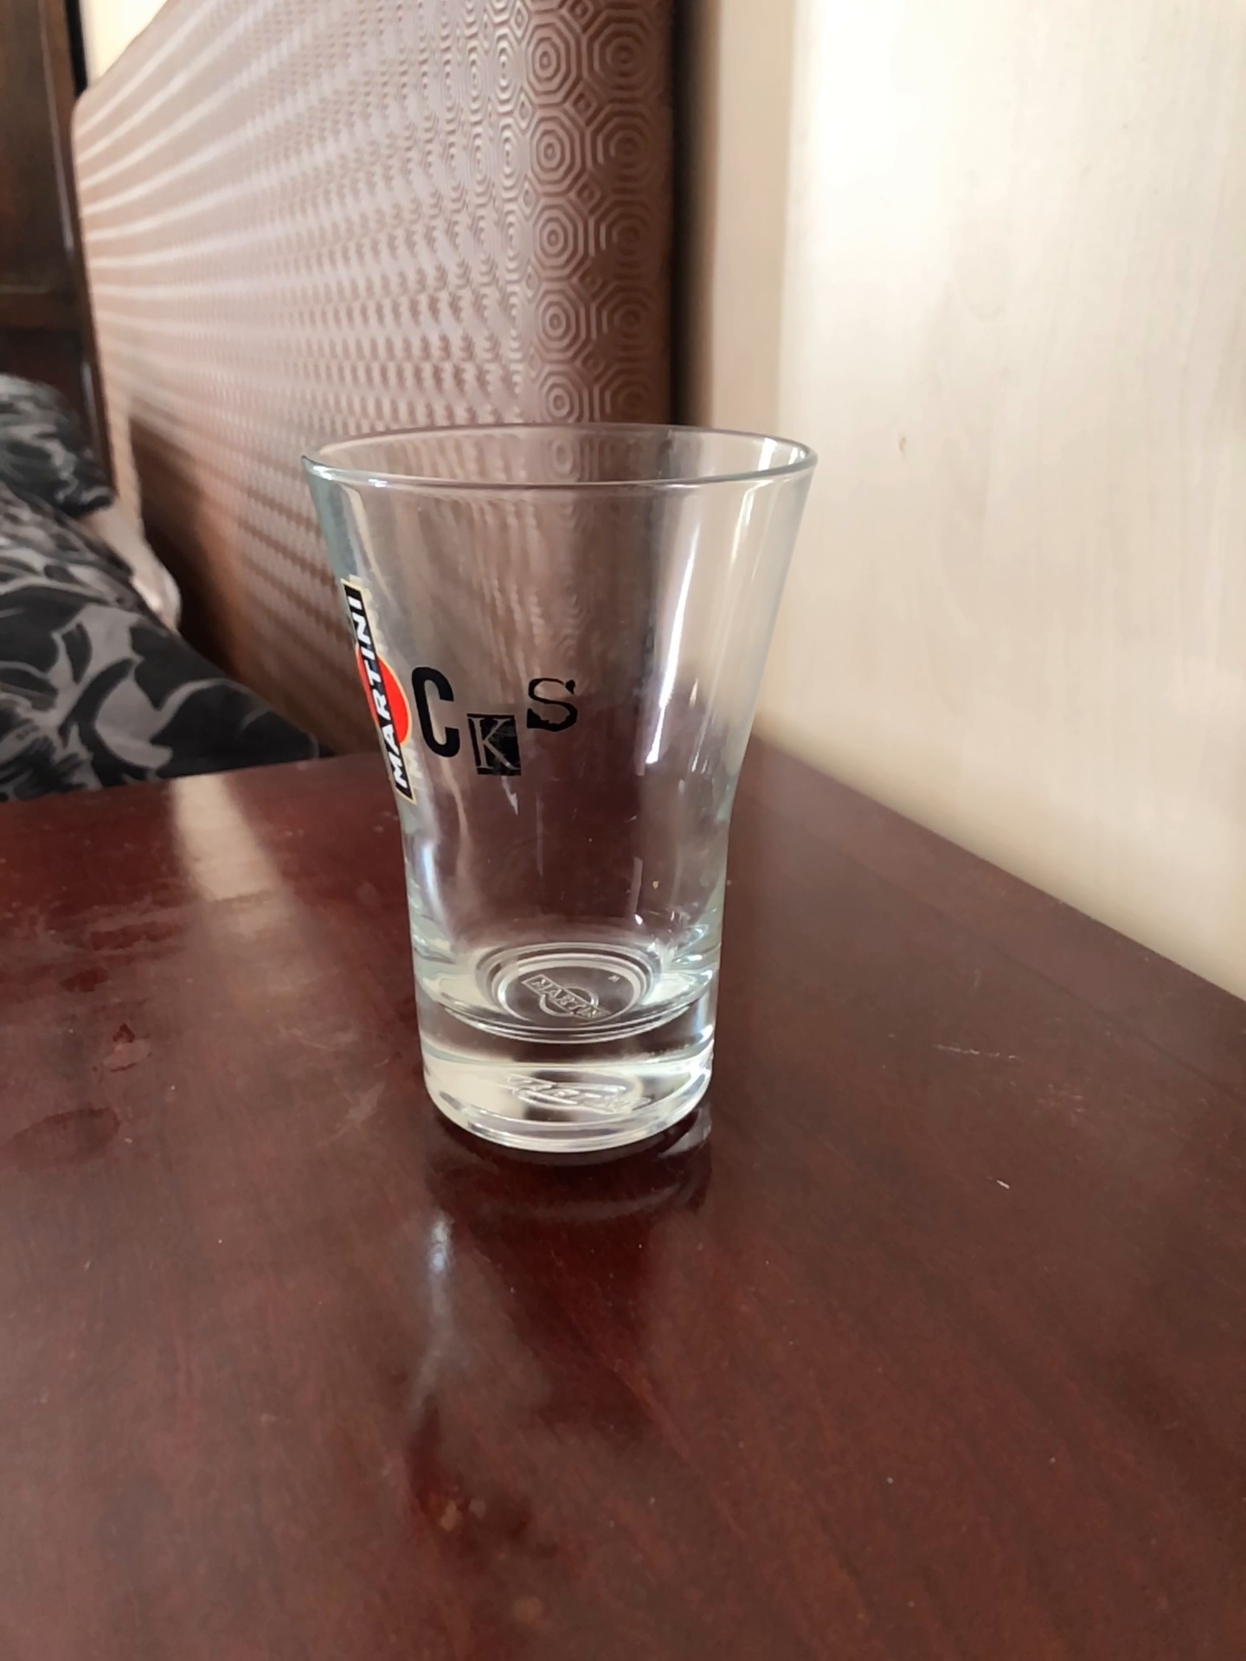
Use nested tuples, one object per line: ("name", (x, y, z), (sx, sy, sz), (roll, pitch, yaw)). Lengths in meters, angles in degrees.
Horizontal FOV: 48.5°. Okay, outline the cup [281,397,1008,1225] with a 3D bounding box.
("cup", (-0.003, -0.015, 0.257), (0.094, 0.118, 0.094), (0, 21, 0))
